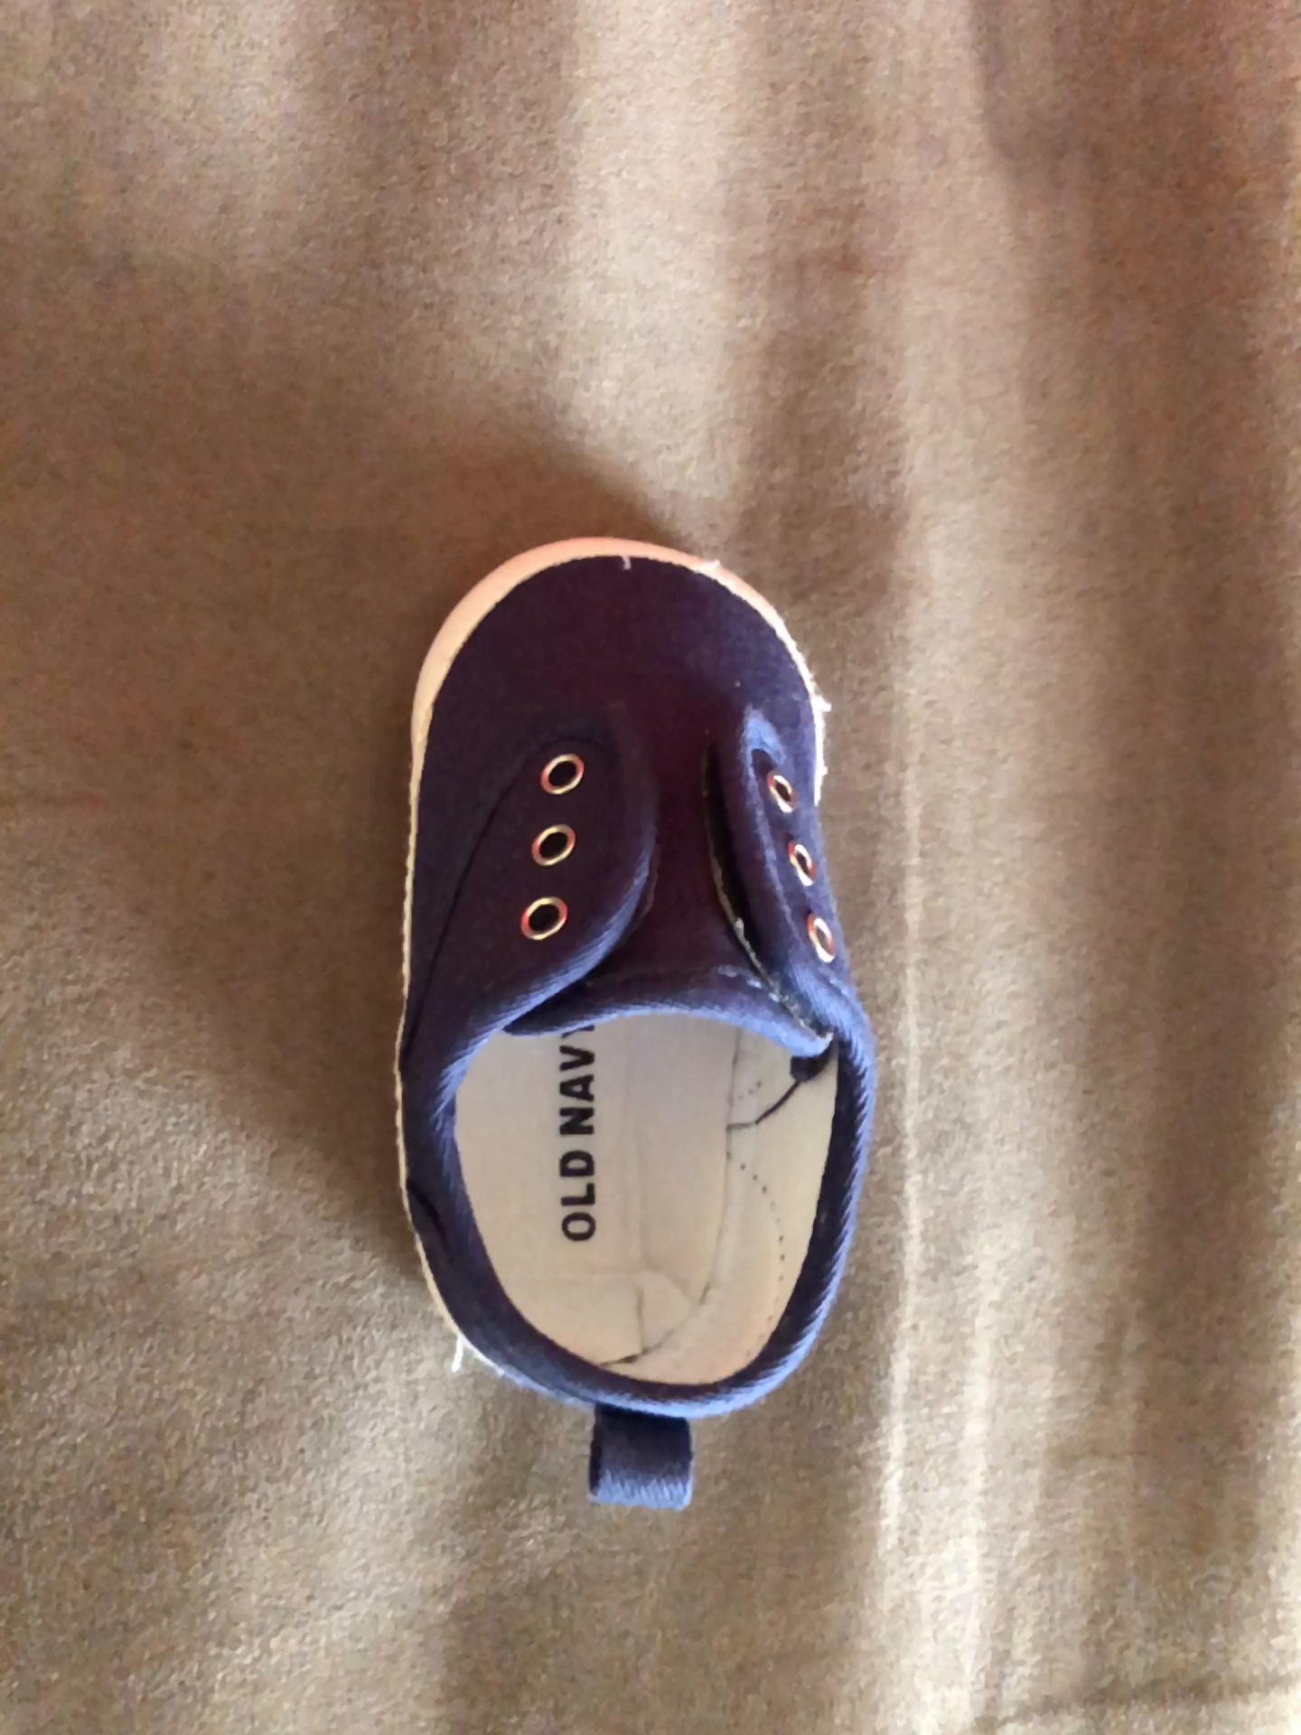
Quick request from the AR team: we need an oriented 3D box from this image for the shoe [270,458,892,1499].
[{"bbox_3d":[-0.012,0.014,0.189,0.060,0.060,0.110,4,91,-11],"label":"shoe"}]
